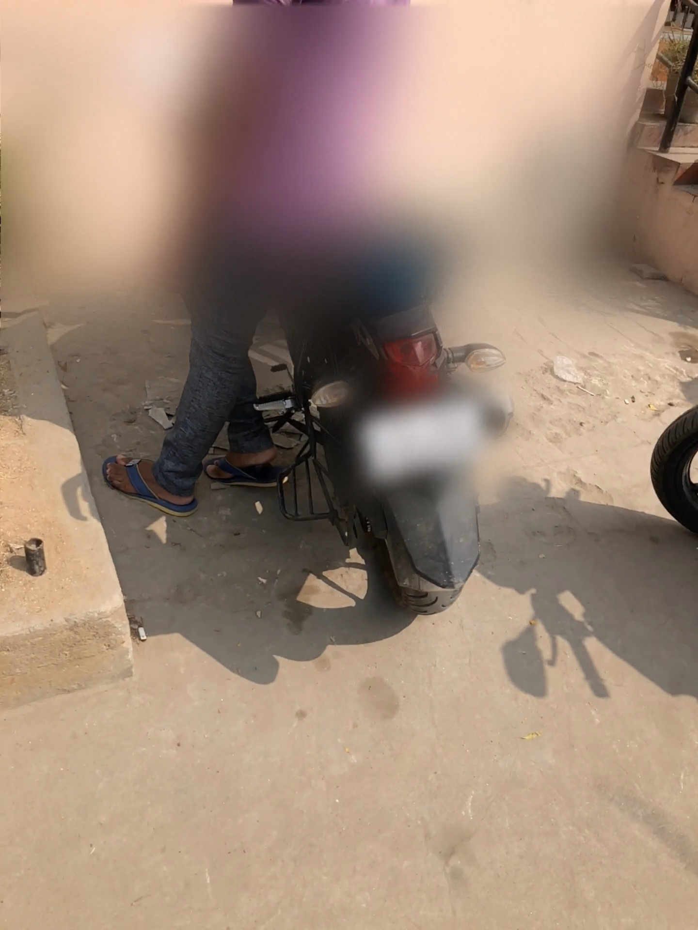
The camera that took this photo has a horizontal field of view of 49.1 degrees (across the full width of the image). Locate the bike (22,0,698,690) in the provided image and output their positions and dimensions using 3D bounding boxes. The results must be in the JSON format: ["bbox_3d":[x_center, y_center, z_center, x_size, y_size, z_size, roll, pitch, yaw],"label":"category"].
[{"bbox_3d":[-0.263,-0.687,1.919,0.810,1.222,1.833,-7,41,-19],"label":"bike"}]
